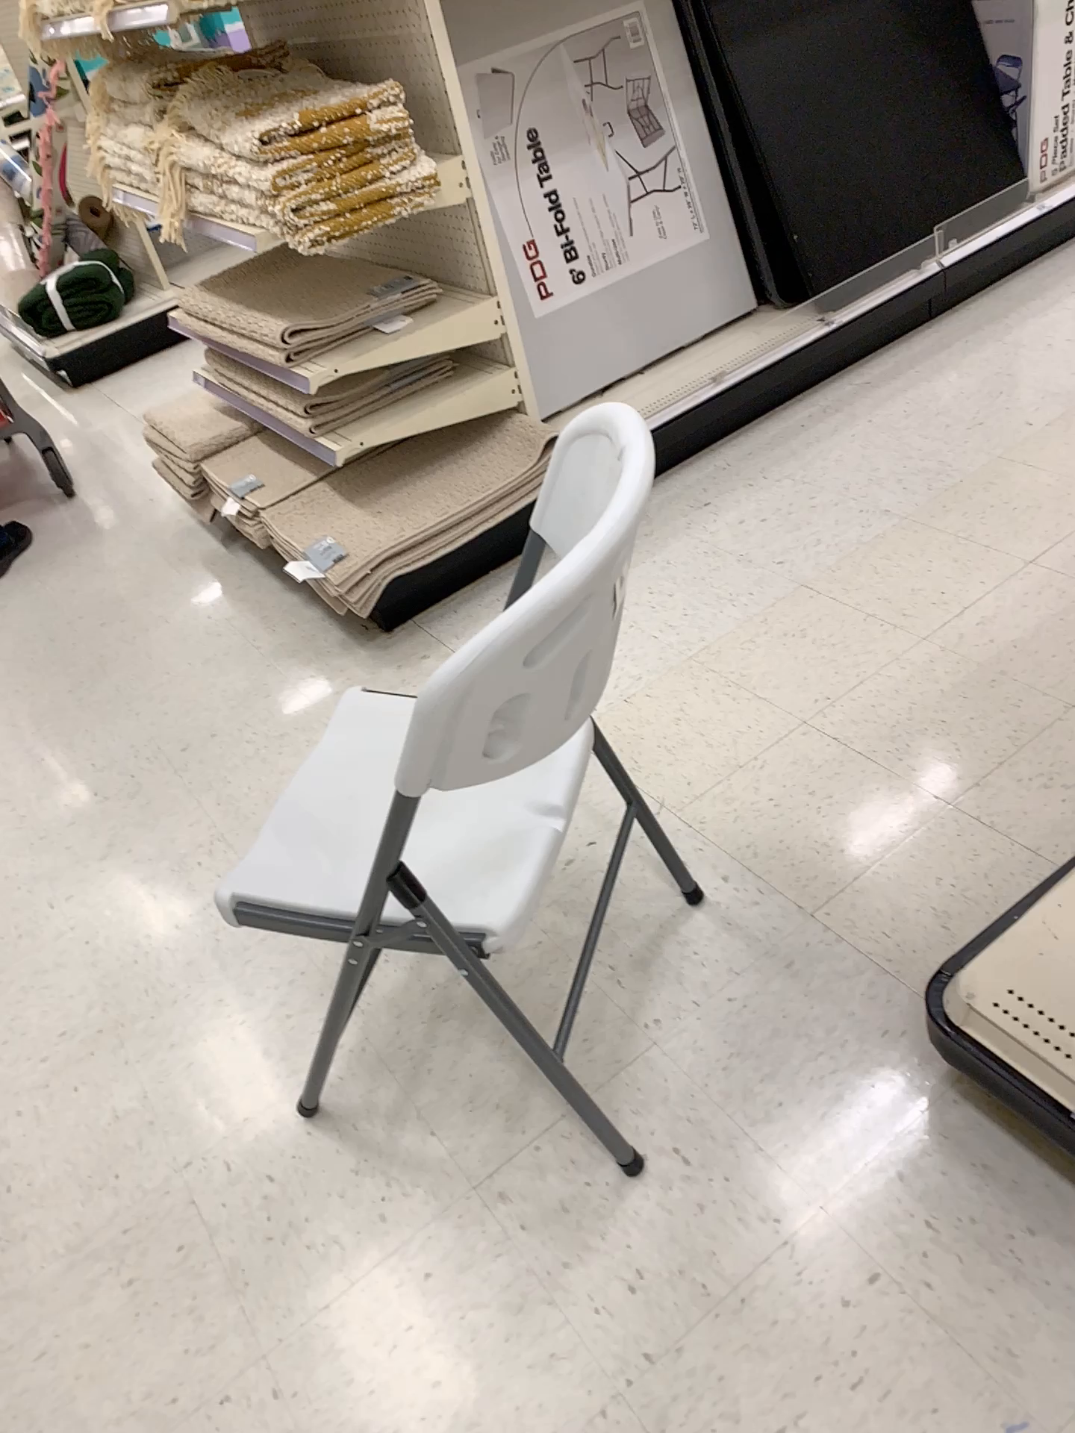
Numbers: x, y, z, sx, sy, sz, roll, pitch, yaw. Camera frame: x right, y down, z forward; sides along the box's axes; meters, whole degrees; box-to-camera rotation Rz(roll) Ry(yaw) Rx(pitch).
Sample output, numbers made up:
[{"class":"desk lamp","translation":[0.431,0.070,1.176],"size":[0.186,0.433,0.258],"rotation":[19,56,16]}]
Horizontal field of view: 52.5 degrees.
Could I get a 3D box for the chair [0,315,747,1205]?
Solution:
[{"class":"chair","translation":[-0.119,0.073,1.302],"size":[0.571,0.845,0.522],"rotation":[1,41,21]}]
